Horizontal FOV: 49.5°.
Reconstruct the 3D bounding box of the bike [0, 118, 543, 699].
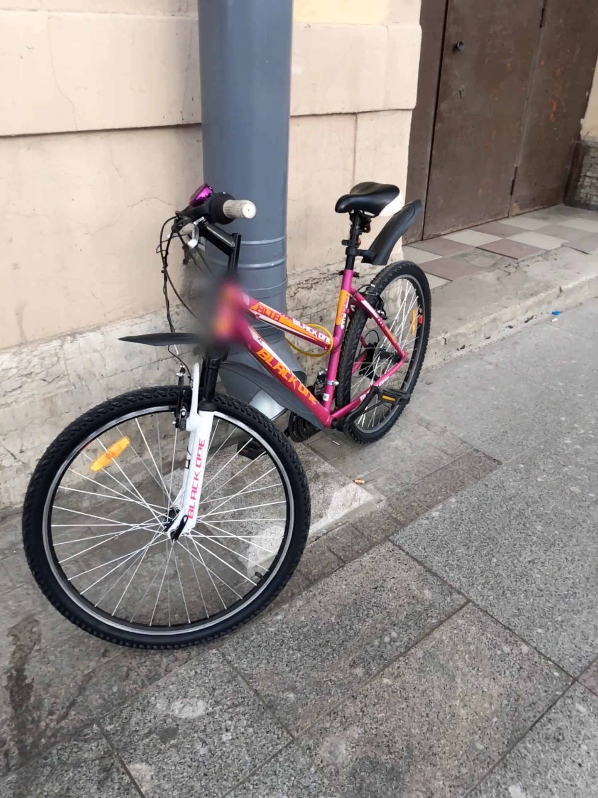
[{"bbox_3d":[-0.072,-0.160,1.840,0.624,0.974,1.578,24,38,35],"label":"bike"}]
